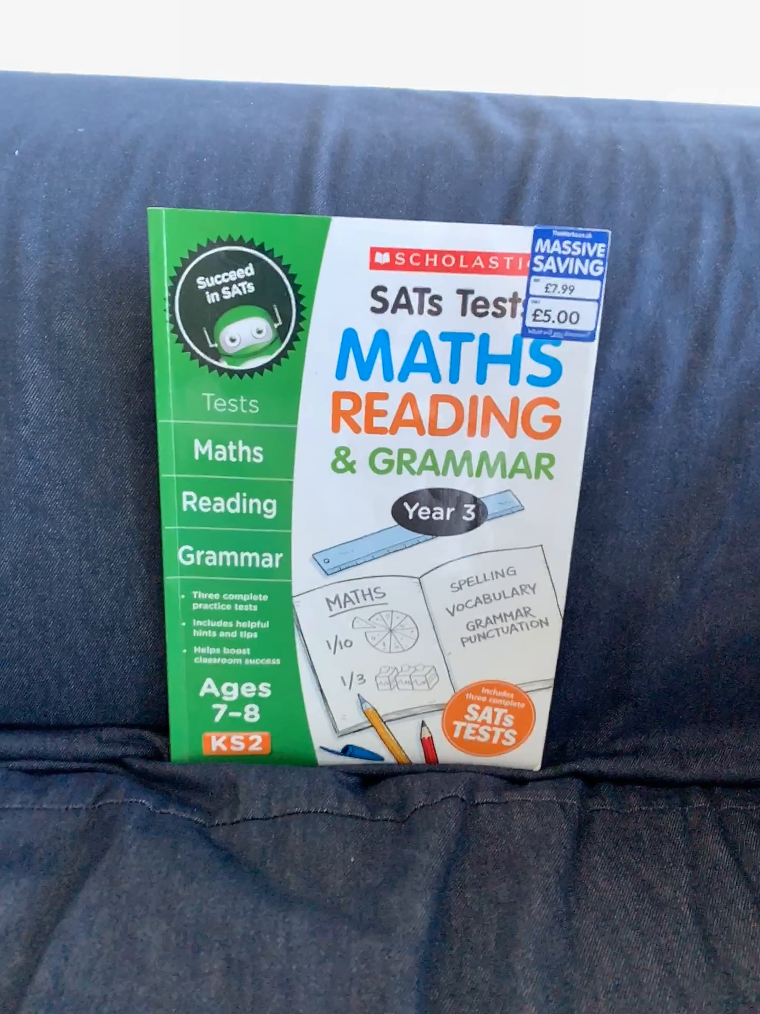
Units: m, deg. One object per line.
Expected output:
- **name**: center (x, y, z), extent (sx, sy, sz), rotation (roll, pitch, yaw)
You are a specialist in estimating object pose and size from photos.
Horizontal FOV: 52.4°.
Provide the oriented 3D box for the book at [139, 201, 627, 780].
- **book**: center (-0.003, 0.008, 0.389), extent (0.209, 0.293, 0.022), rotation (1, 20, -3)
